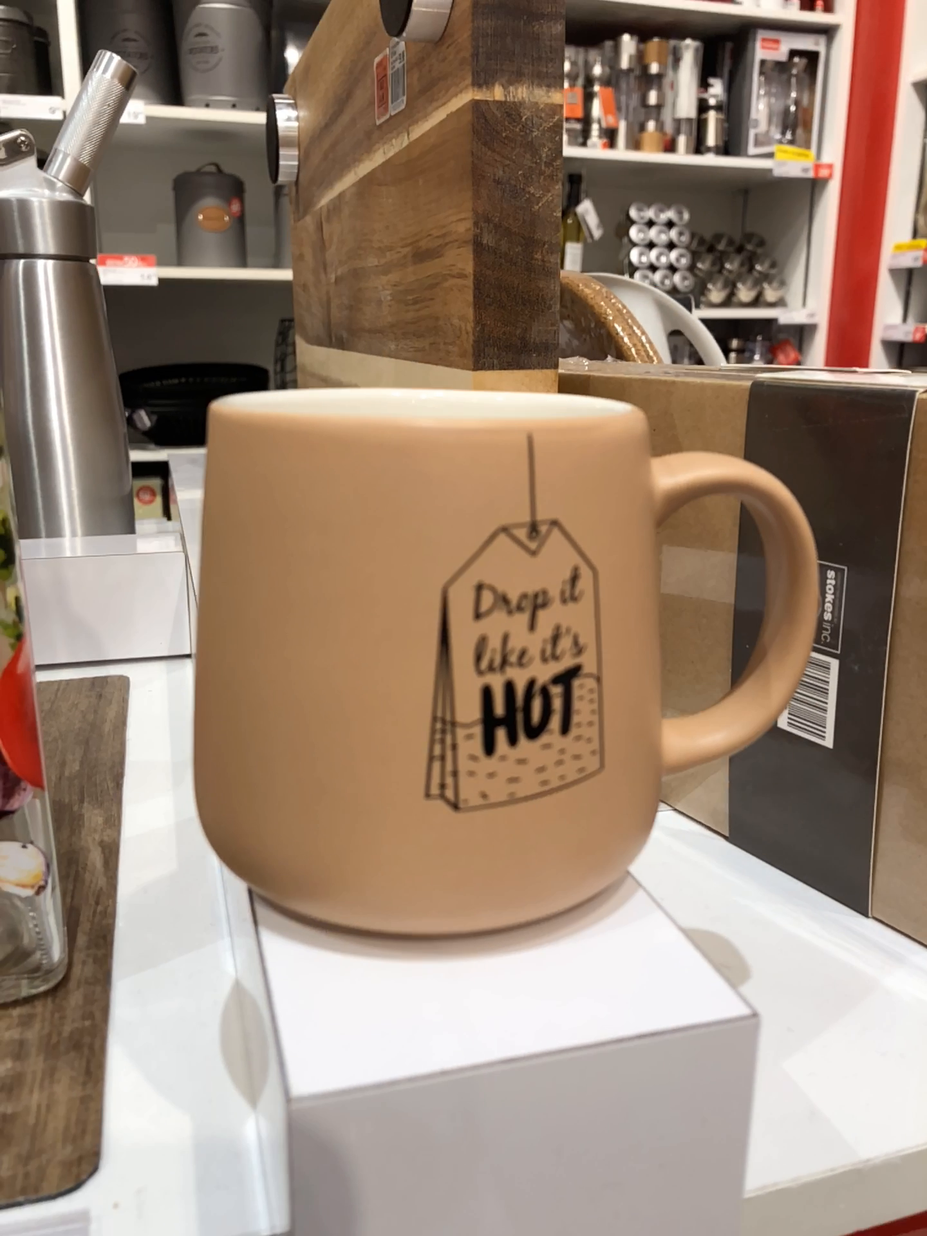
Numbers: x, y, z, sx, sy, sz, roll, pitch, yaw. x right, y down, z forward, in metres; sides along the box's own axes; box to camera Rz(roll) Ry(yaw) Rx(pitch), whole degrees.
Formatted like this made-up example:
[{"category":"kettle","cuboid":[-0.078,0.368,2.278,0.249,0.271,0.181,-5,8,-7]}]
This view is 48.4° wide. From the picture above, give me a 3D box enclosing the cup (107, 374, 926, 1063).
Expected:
[{"category":"cup","cuboid":[0.007,0.000,0.184,0.110,0.080,0.090,-9,18,-30]}]
